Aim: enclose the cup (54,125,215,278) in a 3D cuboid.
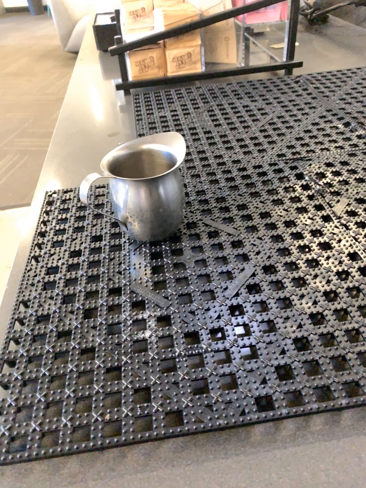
[{"bbox_3d":[-0.035,-0.042,0.326,0.070,0.070,0.110,28,50,34],"label":"cup"}]
